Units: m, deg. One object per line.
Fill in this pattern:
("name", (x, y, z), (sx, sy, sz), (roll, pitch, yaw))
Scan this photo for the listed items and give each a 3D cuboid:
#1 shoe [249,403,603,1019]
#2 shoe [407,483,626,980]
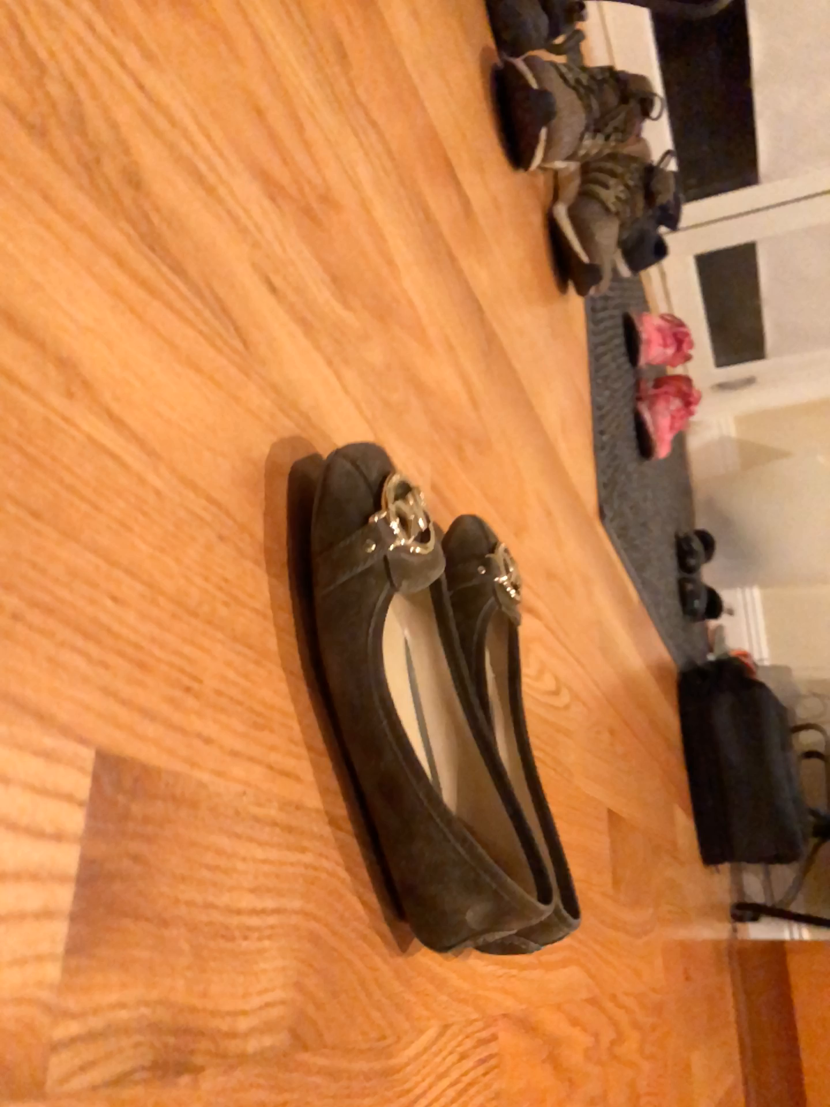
("shoe", (0.015, 0.067, 0.401), (0.091, 0.079, 0.242), (-42, 121, -66))
("shoe", (0.055, 0.094, 0.504), (0.091, 0.079, 0.240), (31, 53, -64))
